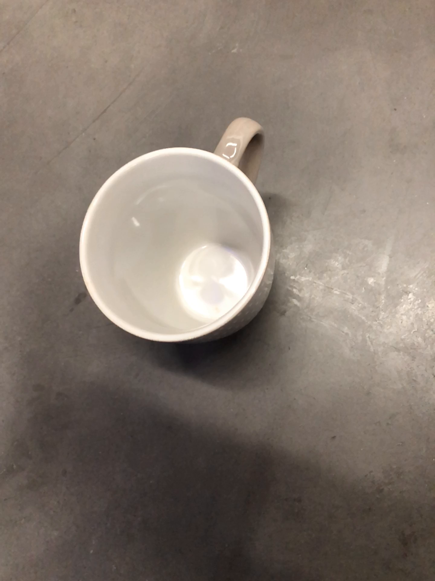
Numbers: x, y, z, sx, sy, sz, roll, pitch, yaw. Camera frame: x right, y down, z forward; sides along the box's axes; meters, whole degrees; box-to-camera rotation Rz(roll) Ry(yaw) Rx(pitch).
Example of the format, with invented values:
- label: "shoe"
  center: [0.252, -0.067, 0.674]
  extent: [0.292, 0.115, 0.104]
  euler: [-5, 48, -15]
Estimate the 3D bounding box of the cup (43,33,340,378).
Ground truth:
- label: "cup"
  center: [-0.003, -0.036, 0.272]
  extent: [0.091, 0.107, 0.141]
  euler: [21, 86, 14]
